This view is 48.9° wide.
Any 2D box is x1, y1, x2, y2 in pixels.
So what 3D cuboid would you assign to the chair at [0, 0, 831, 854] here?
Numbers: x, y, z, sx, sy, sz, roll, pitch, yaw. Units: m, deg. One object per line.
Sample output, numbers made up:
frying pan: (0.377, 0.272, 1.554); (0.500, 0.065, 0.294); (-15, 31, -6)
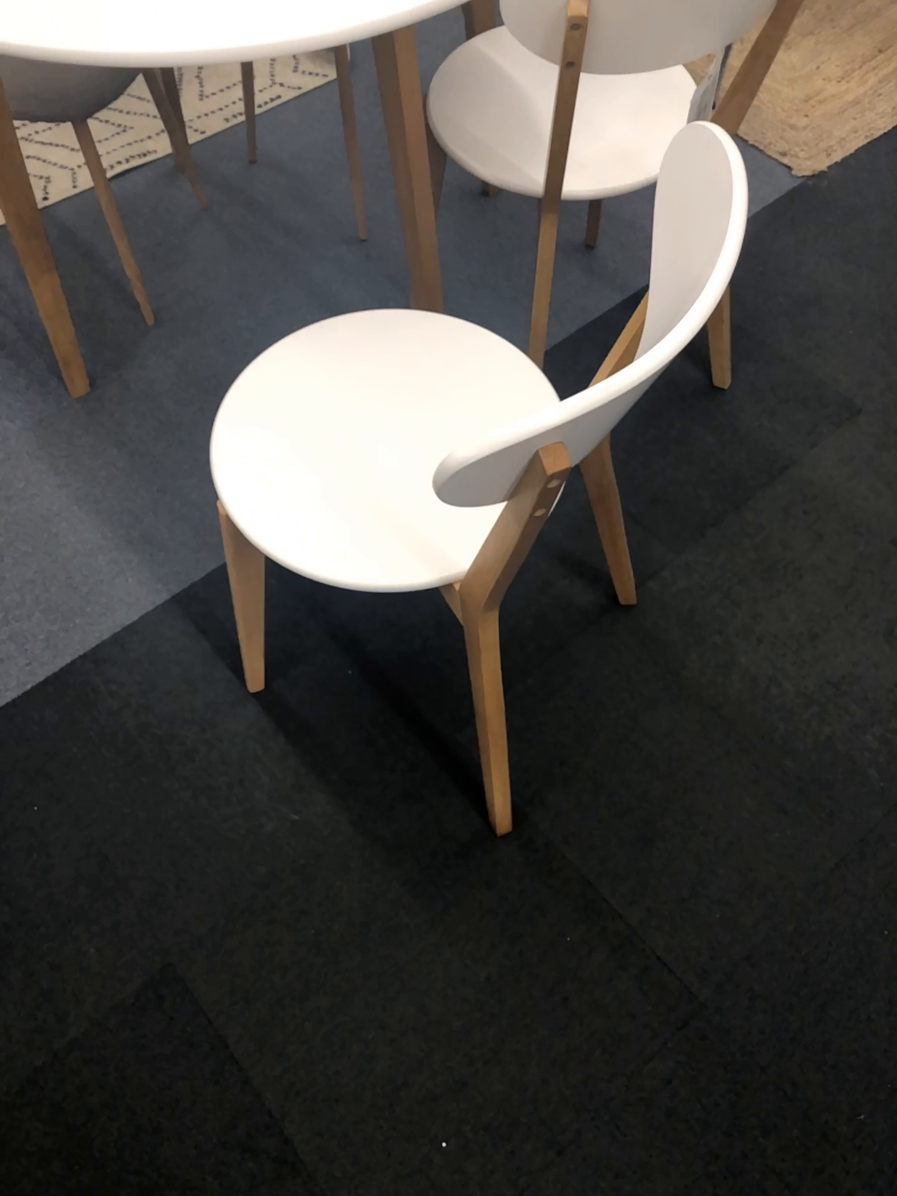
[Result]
chair: (-0.031, -0.159, 1.064); (0.560, 0.599, 0.481); (26, 62, 16)
